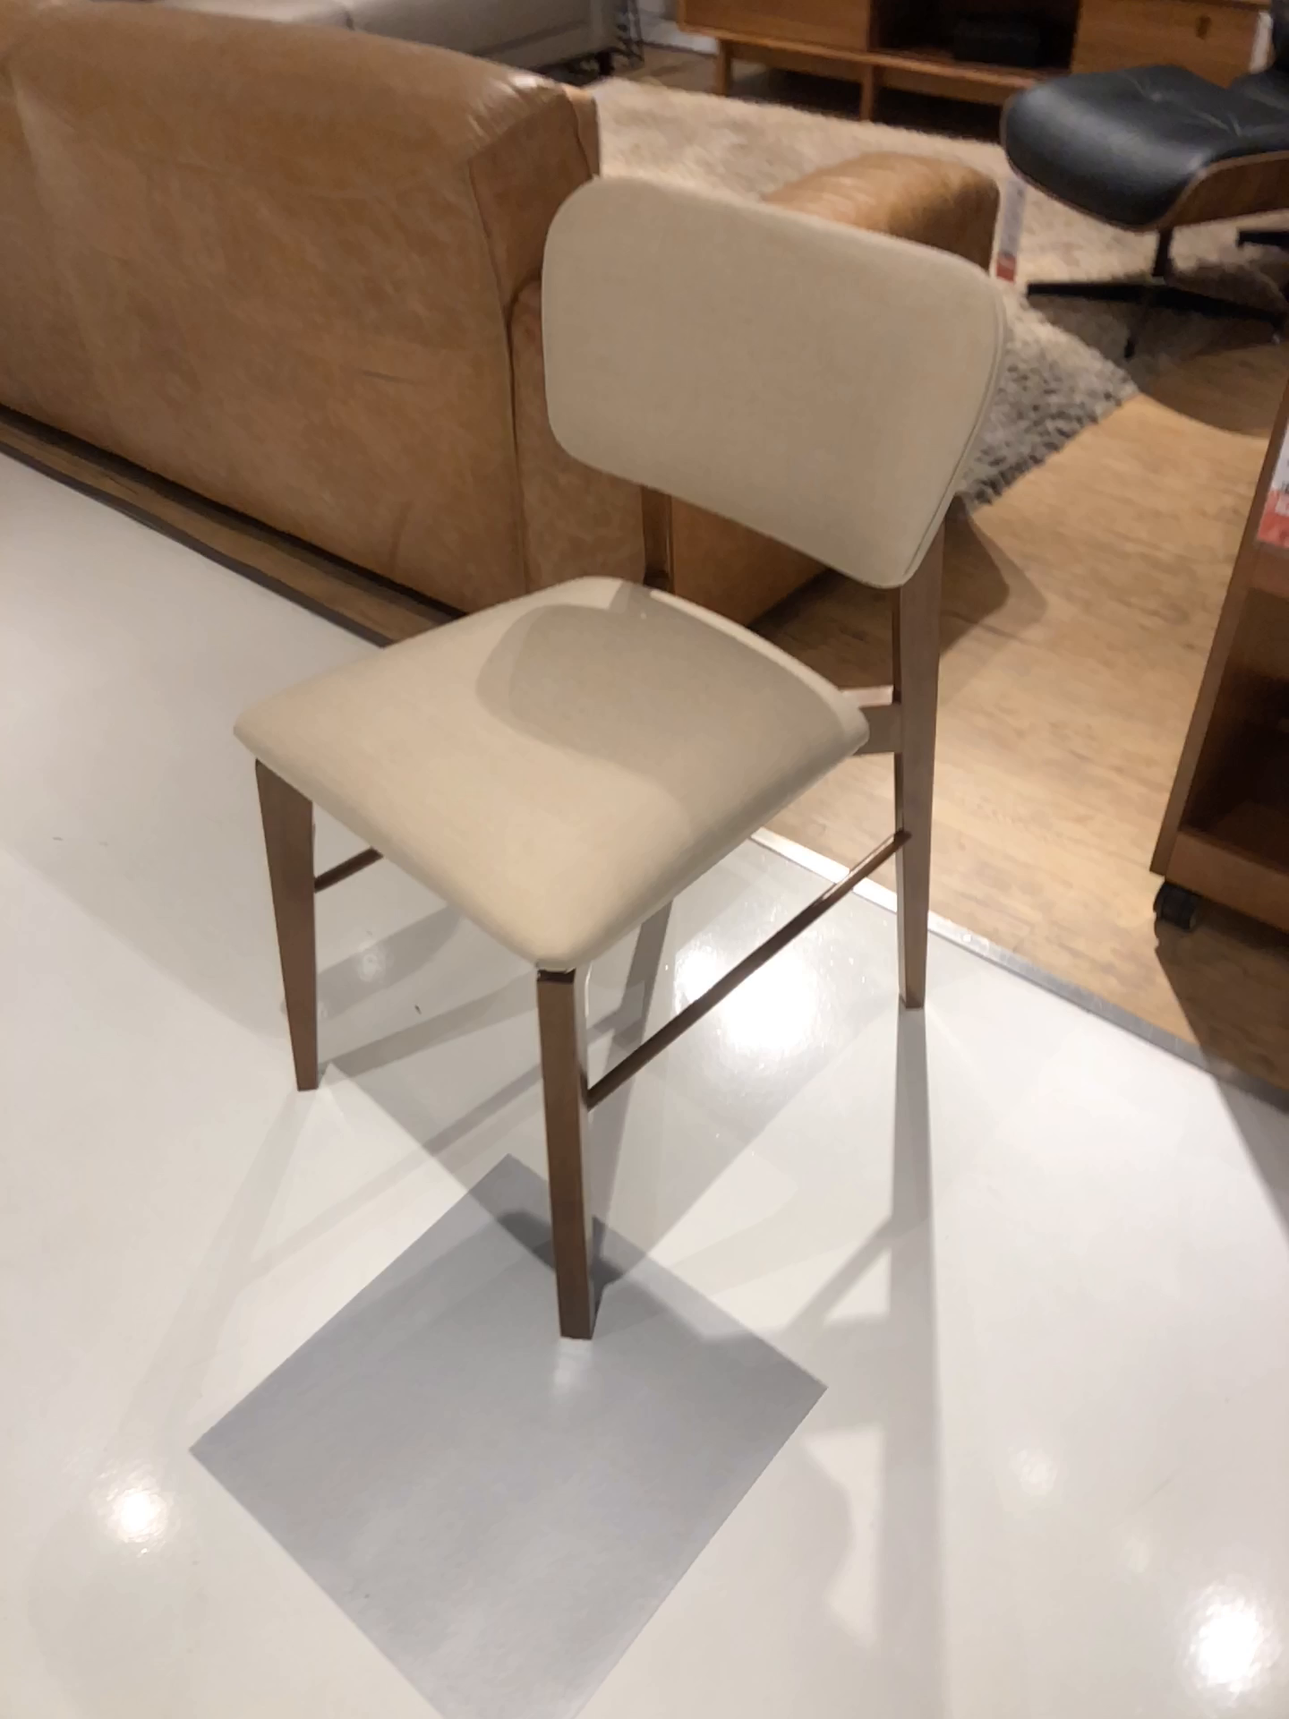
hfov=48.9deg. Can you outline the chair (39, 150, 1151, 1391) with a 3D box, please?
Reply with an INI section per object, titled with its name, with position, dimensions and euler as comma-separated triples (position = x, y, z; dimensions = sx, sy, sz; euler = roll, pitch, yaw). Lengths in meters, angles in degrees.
[chair]
position = -0.022, -0.100, 1.241
dimensions = 0.592, 0.764, 0.512
euler = -33, 50, -31
